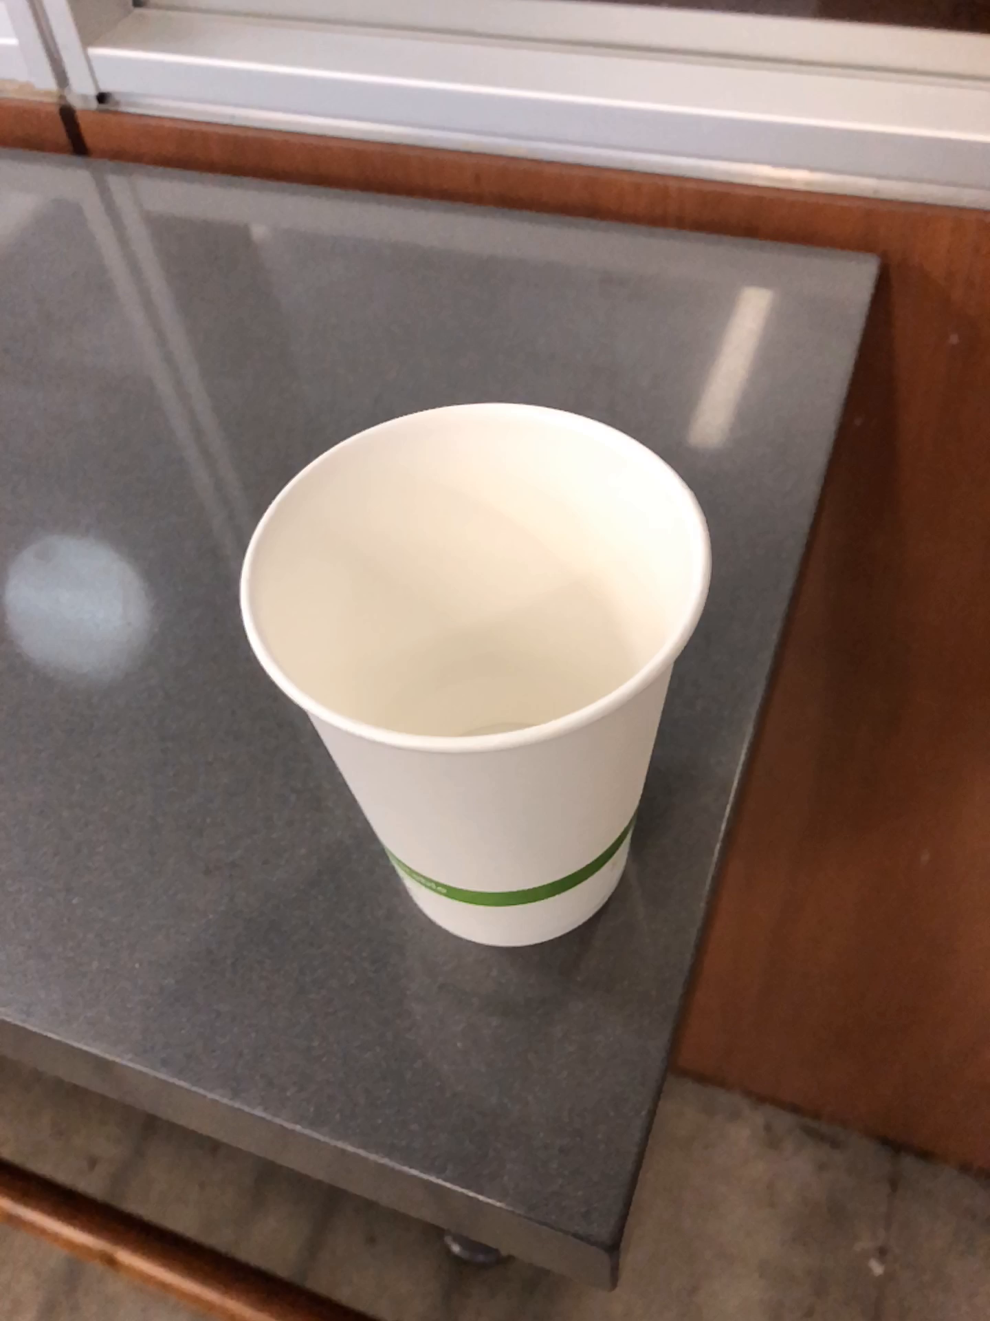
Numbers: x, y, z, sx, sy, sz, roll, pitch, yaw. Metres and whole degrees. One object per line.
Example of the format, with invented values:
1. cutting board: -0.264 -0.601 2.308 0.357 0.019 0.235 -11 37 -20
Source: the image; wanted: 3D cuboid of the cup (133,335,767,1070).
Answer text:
1. cup: -0.008 0.013 0.246 0.090 0.120 0.080 -22 52 -13
